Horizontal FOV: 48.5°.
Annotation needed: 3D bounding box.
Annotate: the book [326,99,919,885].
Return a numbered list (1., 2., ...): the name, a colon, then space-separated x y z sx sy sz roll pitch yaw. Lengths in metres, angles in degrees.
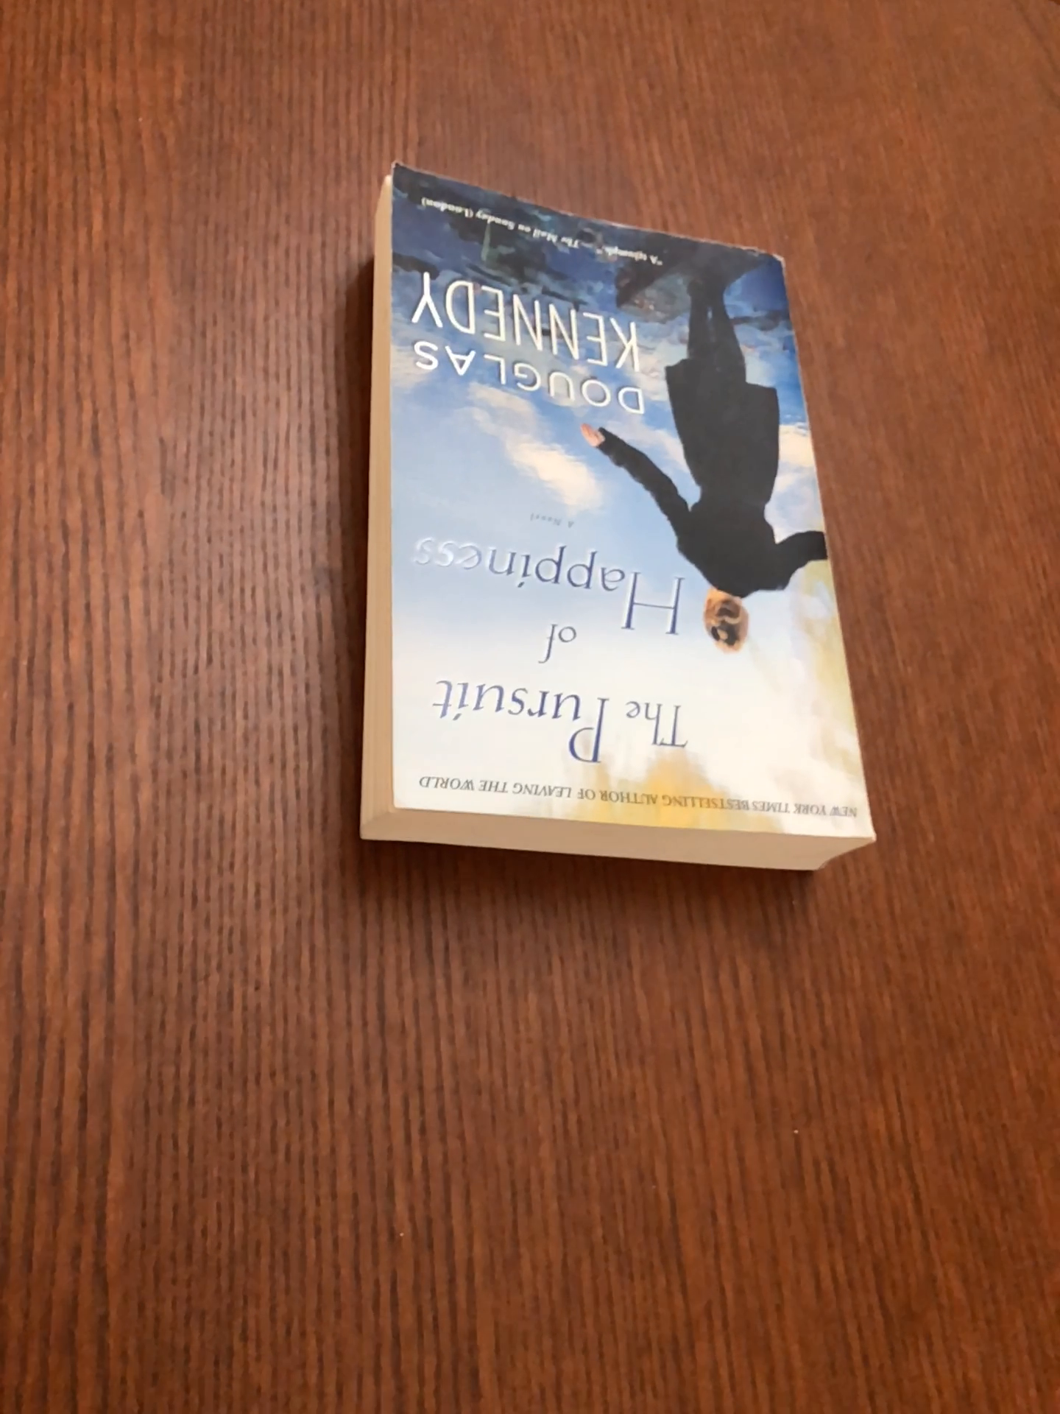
1. book: 0.022 -0.070 0.380 0.160 0.050 0.241 6 65 -18
